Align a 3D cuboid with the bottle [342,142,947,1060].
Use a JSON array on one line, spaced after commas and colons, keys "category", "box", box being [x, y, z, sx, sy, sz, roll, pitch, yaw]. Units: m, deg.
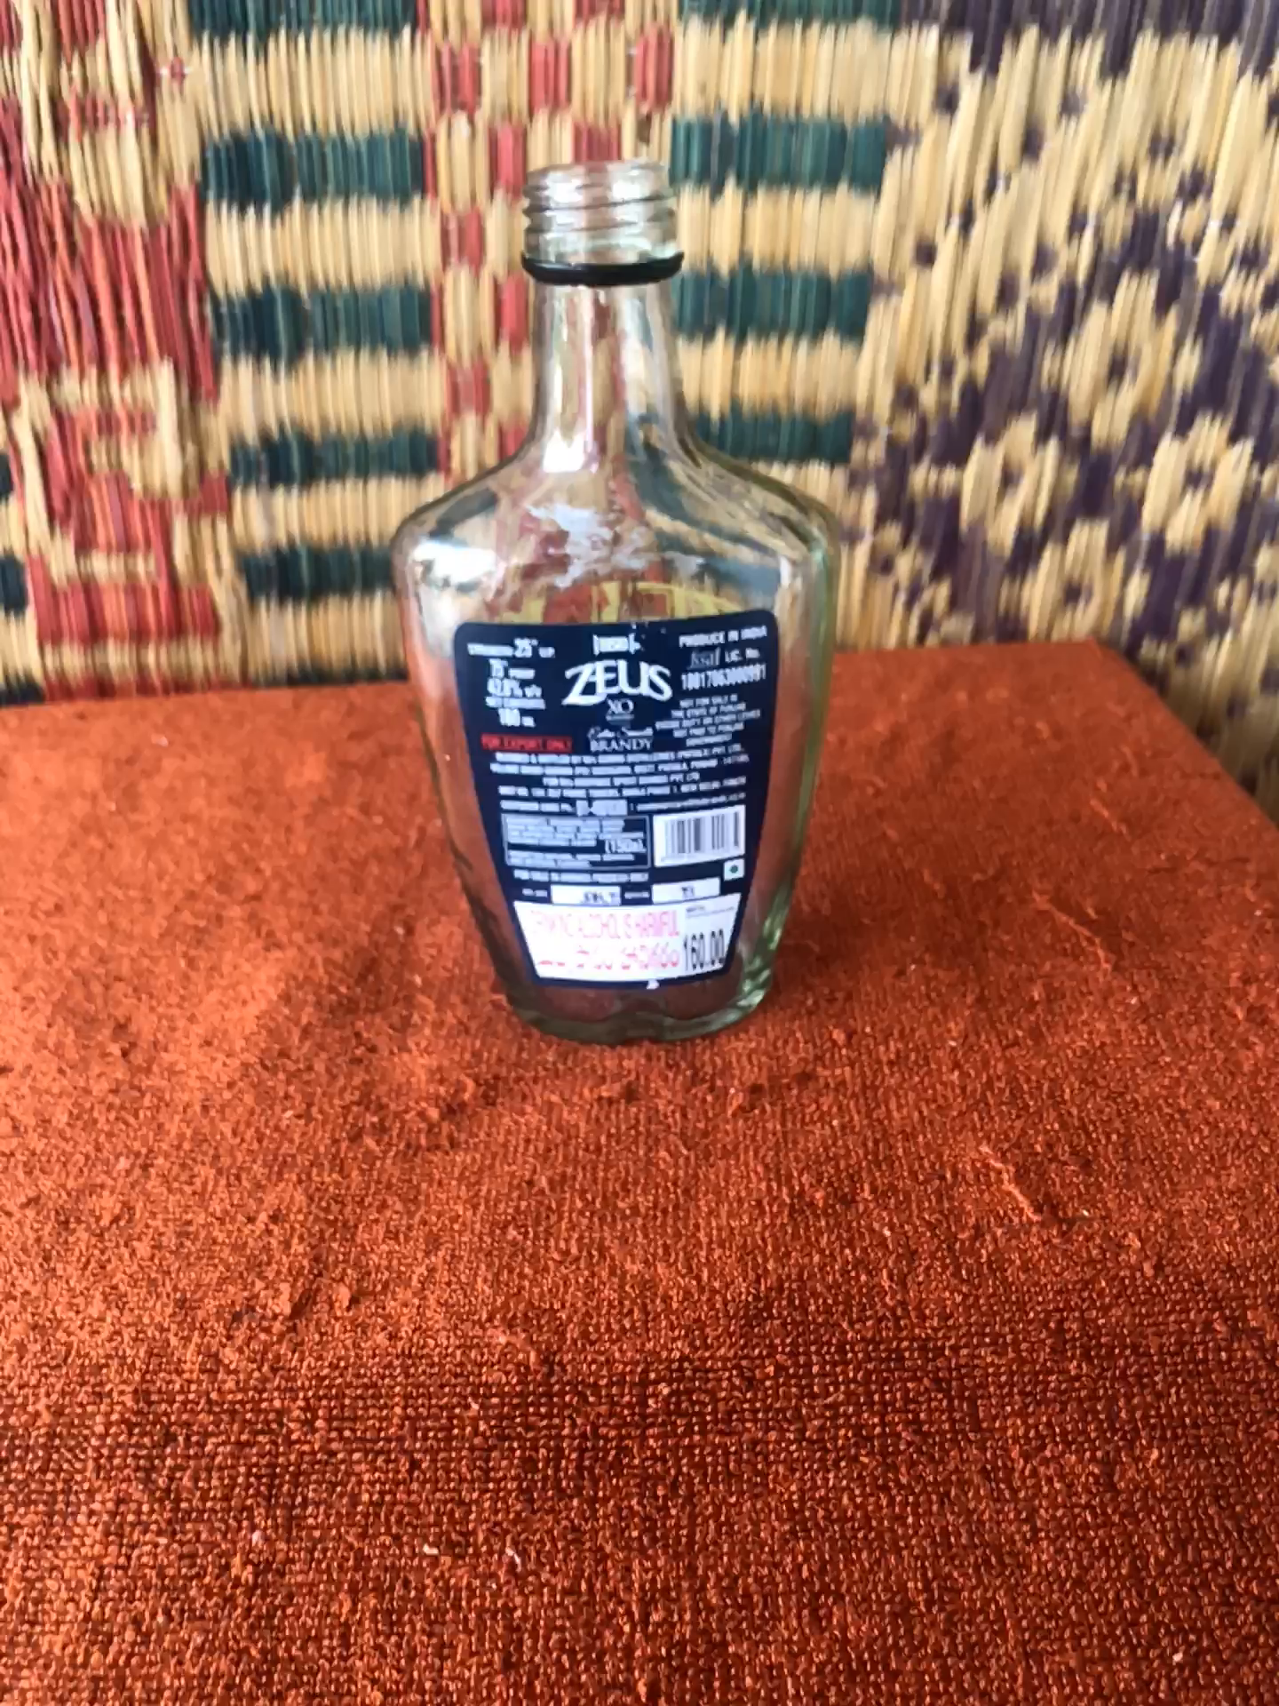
[{"category": "bottle", "box": [0.001, -0.036, 0.247, 0.080, 0.149, 0.040, -2, 34, -3]}]
